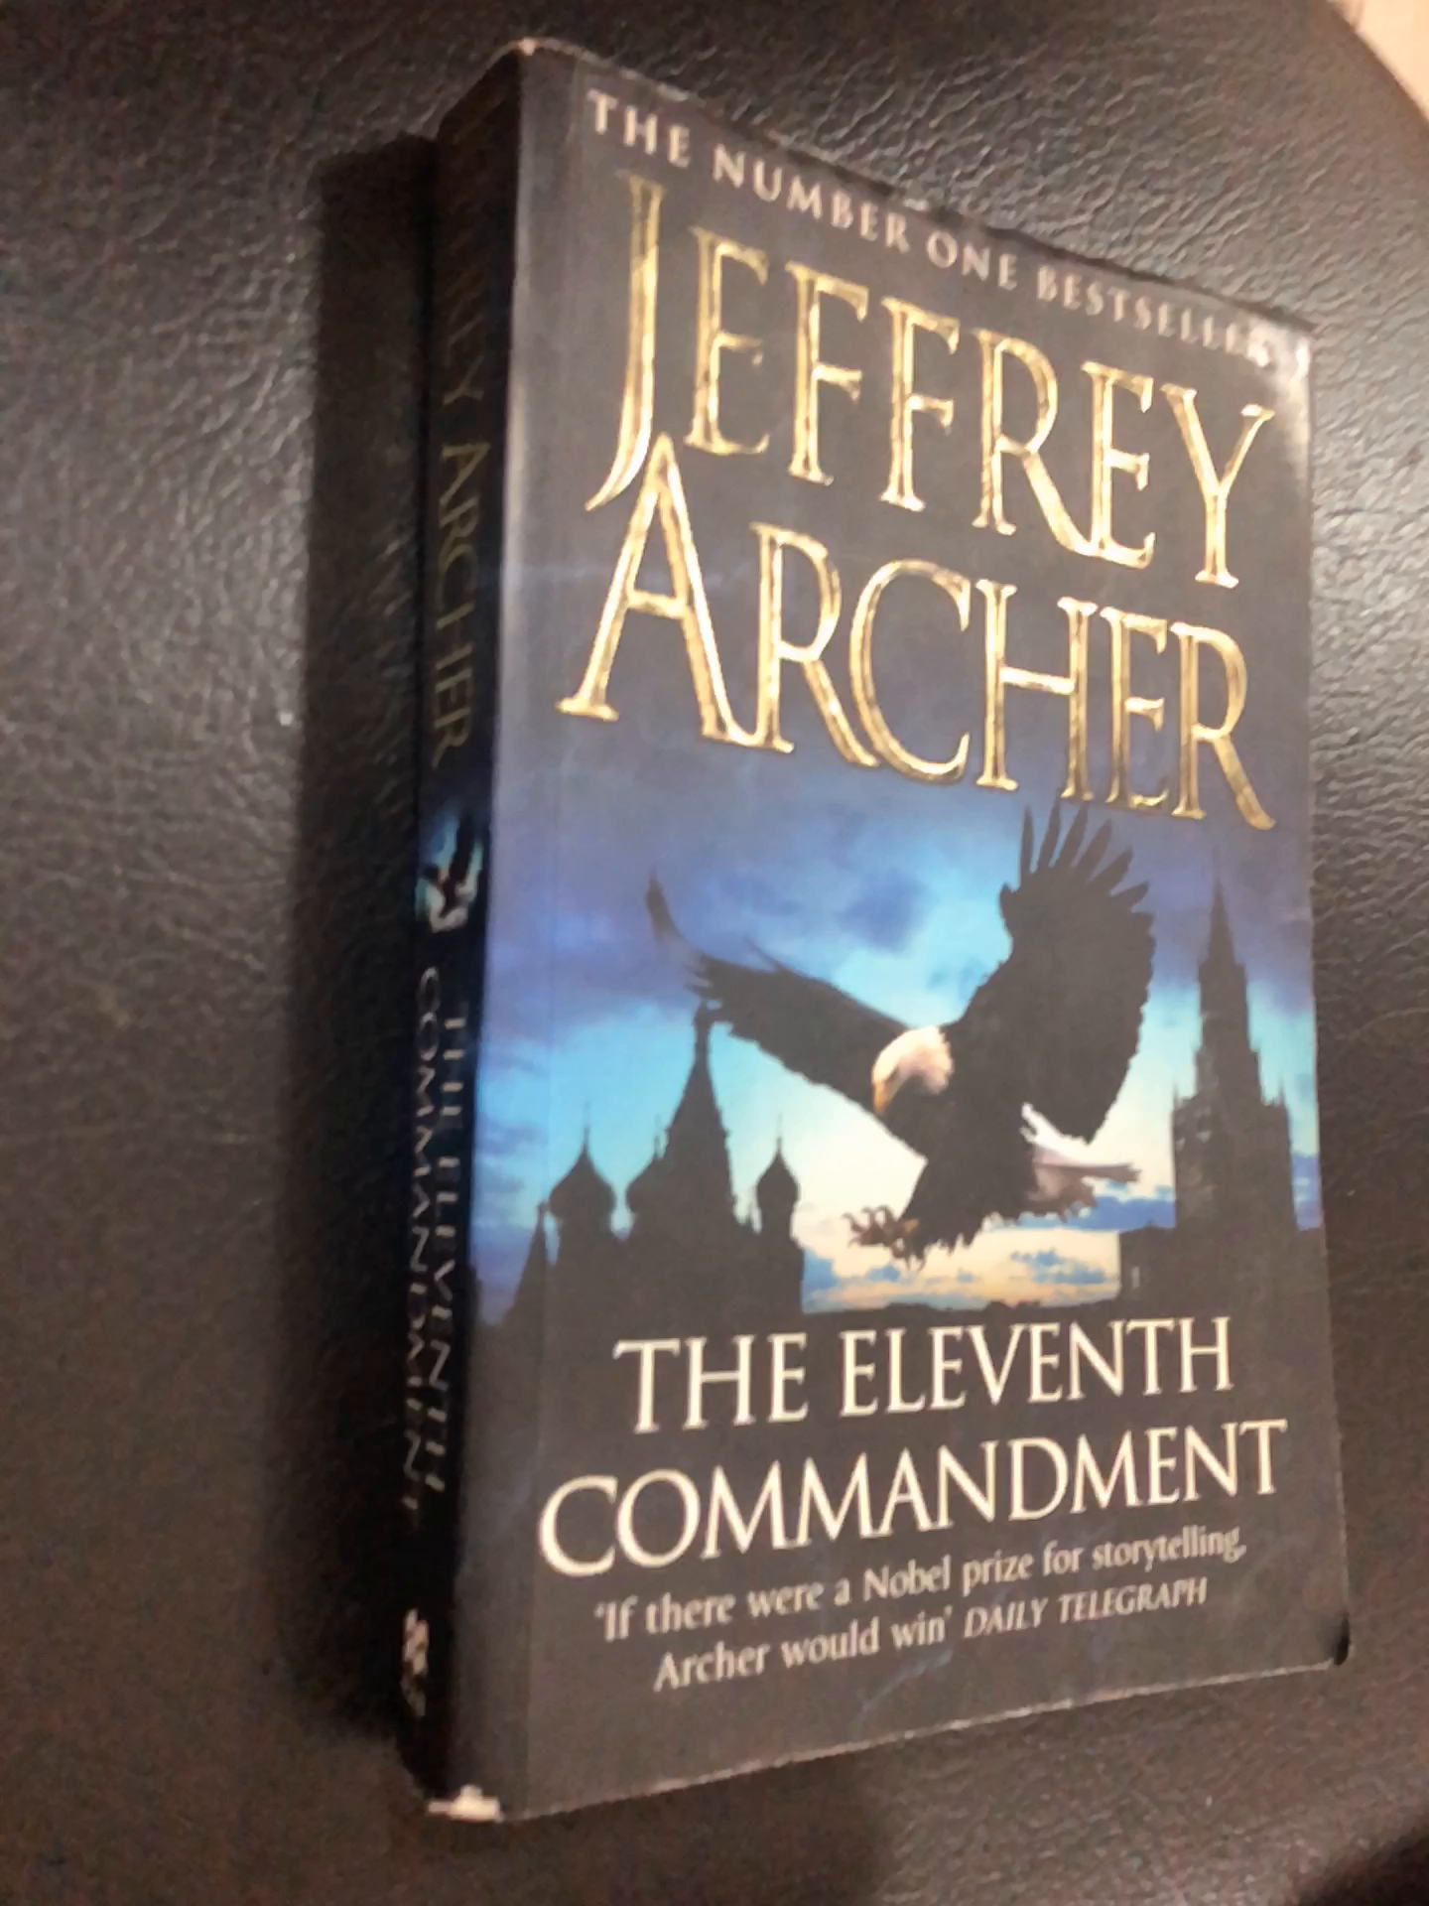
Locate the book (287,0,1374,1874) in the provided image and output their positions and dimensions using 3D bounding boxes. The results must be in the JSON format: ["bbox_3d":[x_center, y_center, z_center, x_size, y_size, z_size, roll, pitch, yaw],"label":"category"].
[{"bbox_3d":[0.024,-0.012,0.200,0.130,0.040,0.200,6,83,-32],"label":"book"}]
